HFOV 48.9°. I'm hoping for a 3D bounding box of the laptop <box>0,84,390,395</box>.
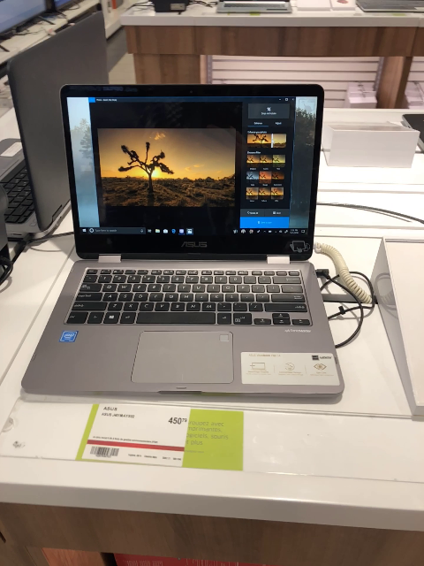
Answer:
[{"bbox_3d":[-0.027,-0.065,0.510,0.319,0.211,0.291,0,38,1],"label":"laptop"}]
